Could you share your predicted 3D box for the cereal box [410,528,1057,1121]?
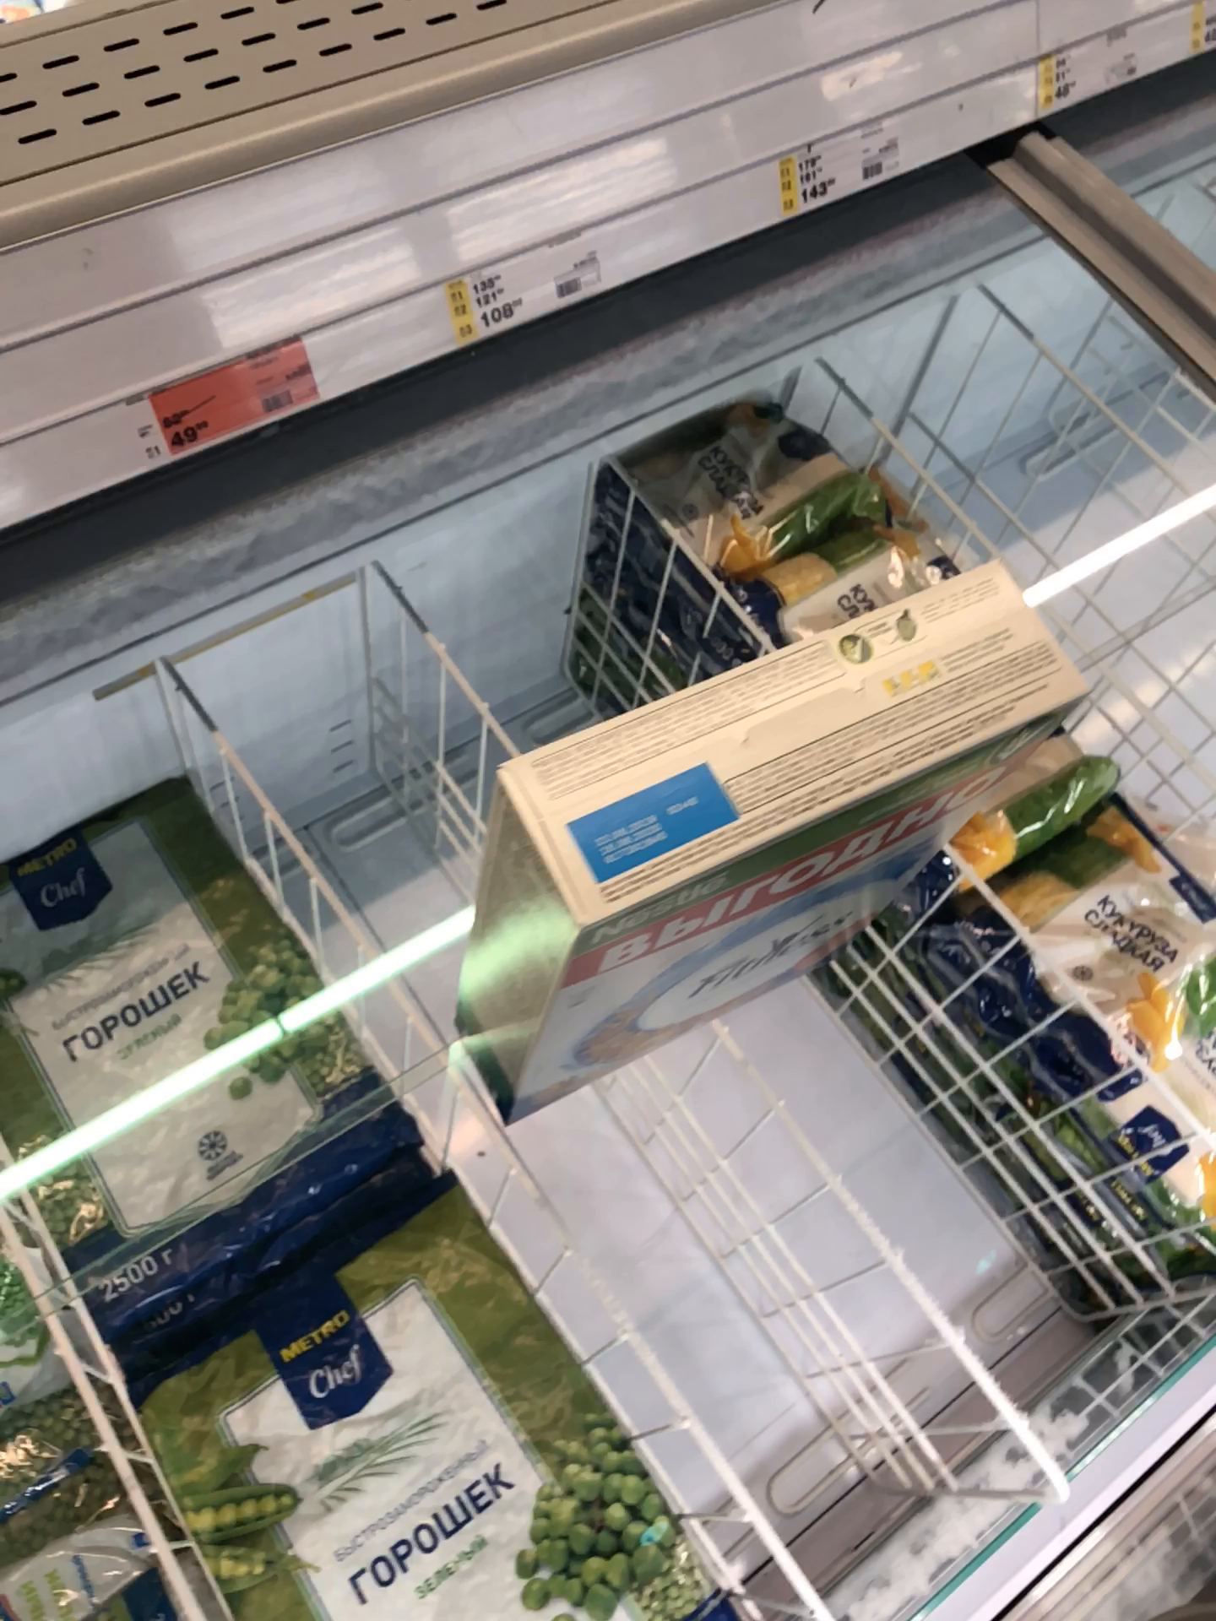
[{"bbox_3d":[0.026,0.023,0.535,0.200,0.269,0.060,-23,71,-18],"label":"cereal box"}]
